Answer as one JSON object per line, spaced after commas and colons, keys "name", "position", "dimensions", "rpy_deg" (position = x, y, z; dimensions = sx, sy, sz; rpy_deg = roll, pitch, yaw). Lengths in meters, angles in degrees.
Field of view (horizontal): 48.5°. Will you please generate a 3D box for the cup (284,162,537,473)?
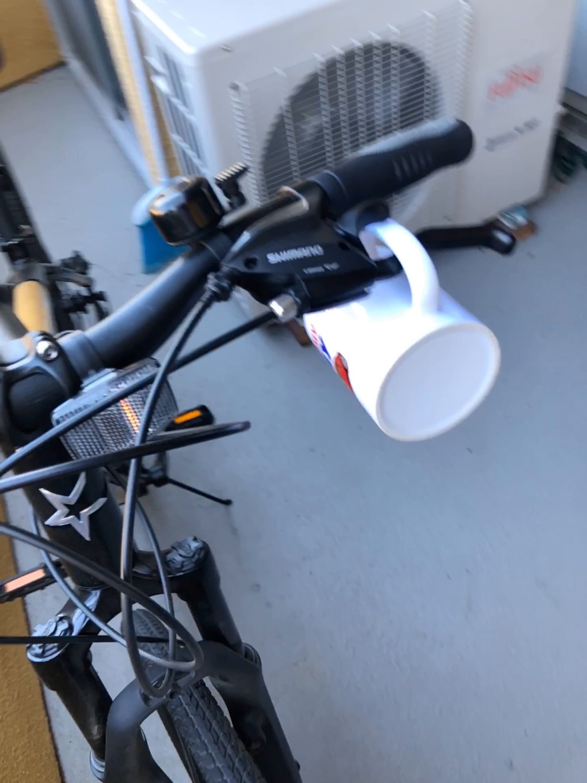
{"name": "cup", "position": [0.059, -0.046, 0.387], "dimensions": [0.090, 0.120, 0.120], "rpy_deg": [-15, 45, -10]}
